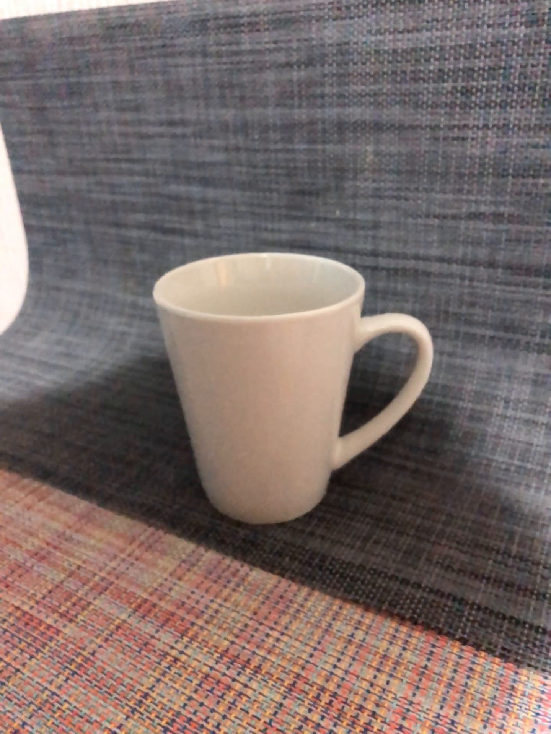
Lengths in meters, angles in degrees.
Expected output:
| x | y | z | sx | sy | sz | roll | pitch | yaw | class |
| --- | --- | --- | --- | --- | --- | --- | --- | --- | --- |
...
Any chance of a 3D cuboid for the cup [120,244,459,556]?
| x | y | z | sx | sy | sz | roll | pitch | yaw | class |
| --- | --- | --- | --- | --- | --- | --- | --- | --- | --- |
| 0.005 | 0.008 | 0.267 | 0.111 | 0.096 | 0.097 | -2 | 25 | 0 | cup |
